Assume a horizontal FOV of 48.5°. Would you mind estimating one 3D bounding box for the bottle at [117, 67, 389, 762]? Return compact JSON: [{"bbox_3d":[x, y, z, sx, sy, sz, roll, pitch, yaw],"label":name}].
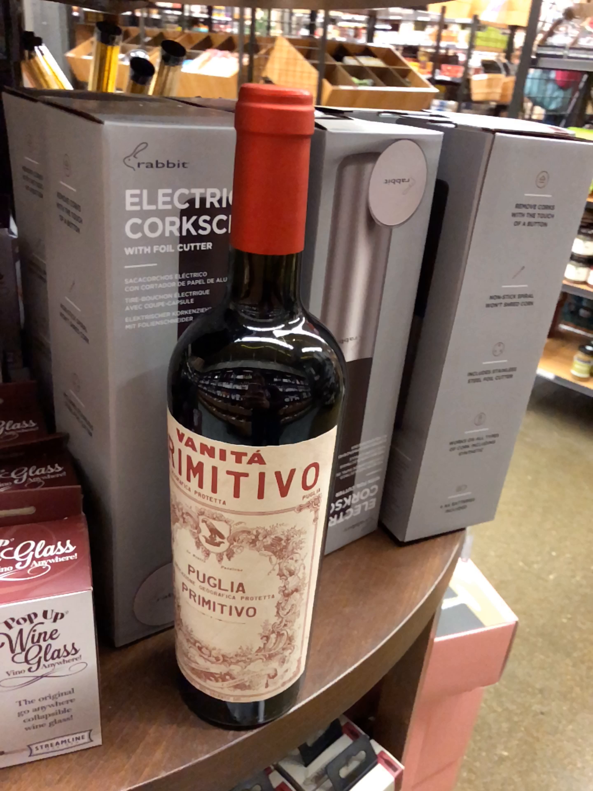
[{"bbox_3d":[-0.021,0.023,0.294,0.072,0.299,0.072,4,27,-2],"label":"bottle"}]
